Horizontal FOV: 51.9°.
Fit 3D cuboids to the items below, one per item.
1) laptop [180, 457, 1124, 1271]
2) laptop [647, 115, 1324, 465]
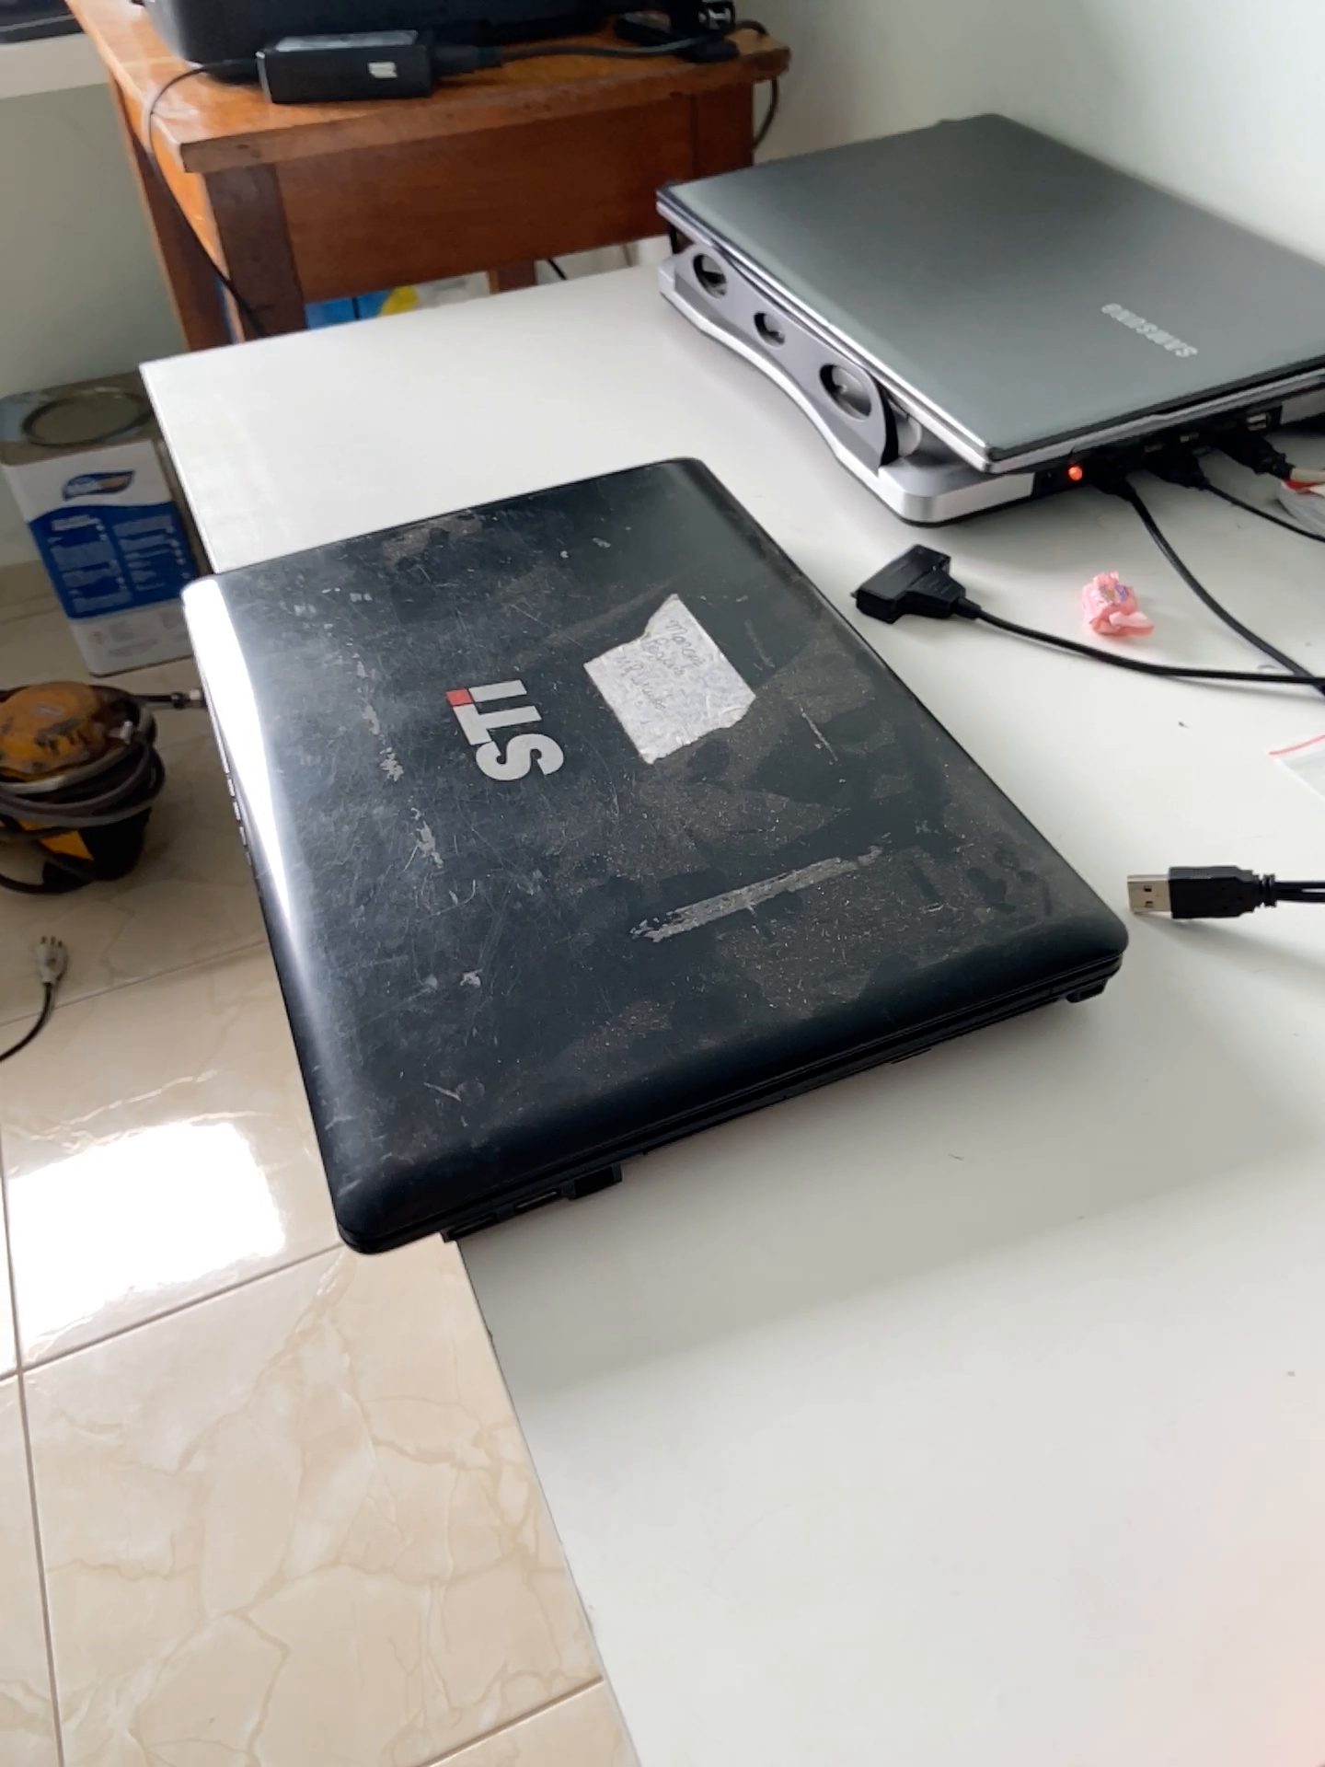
[{"bbox_3d":[-0.036,-0.047,0.487,0.230,0.011,0.339,-19,46,-11],"label":"laptop"},{"bbox_3d":[0.168,-0.322,0.697,0.227,0.006,0.345,-21,48,-16],"label":"laptop"}]
